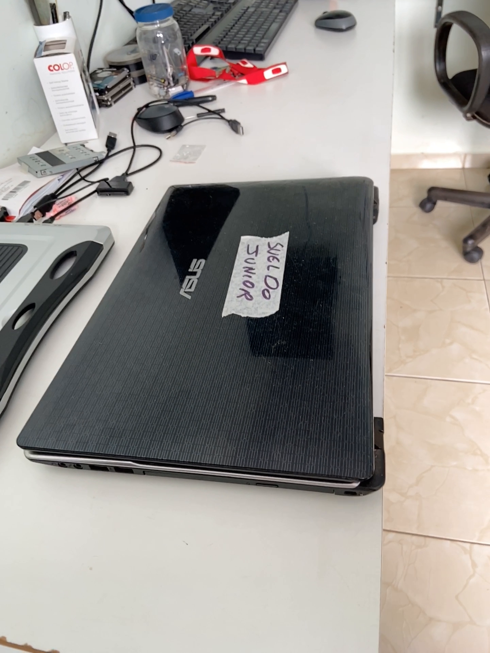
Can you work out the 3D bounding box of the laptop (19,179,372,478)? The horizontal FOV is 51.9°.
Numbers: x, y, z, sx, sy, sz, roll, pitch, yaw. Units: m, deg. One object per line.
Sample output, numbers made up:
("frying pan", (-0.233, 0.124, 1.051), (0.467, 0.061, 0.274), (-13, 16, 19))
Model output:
("laptop", (-0.010, -0.041, 0.451), (0.236, 0.001, 0.365), (1, 44, 13))
